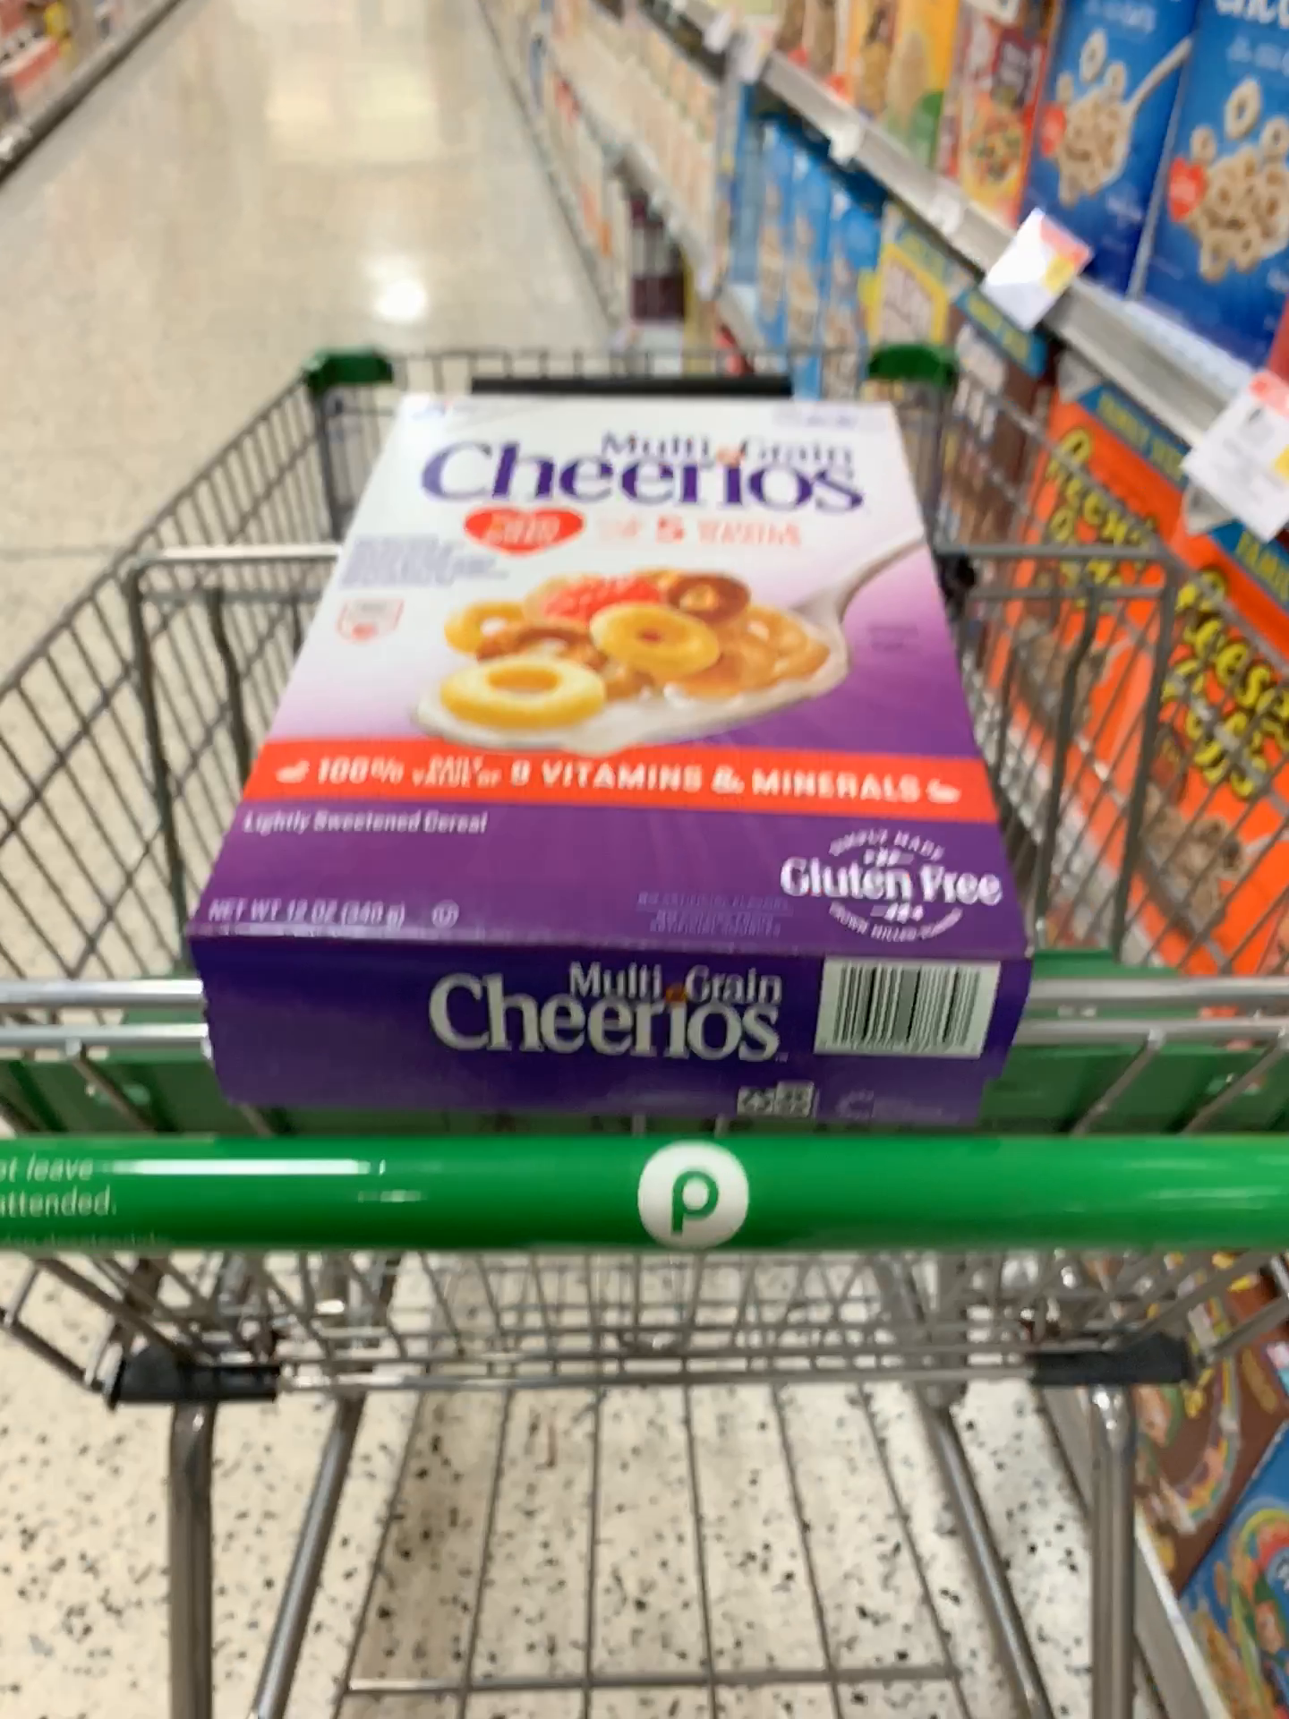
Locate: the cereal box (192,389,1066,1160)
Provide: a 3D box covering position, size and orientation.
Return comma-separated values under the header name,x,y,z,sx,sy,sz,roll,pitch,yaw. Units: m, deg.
name,x,y,z,sx,sy,sz,roll,pitch,yaw
cereal box,-0.001,-0.057,0.453,0.200,0.069,0.323,2,41,0
